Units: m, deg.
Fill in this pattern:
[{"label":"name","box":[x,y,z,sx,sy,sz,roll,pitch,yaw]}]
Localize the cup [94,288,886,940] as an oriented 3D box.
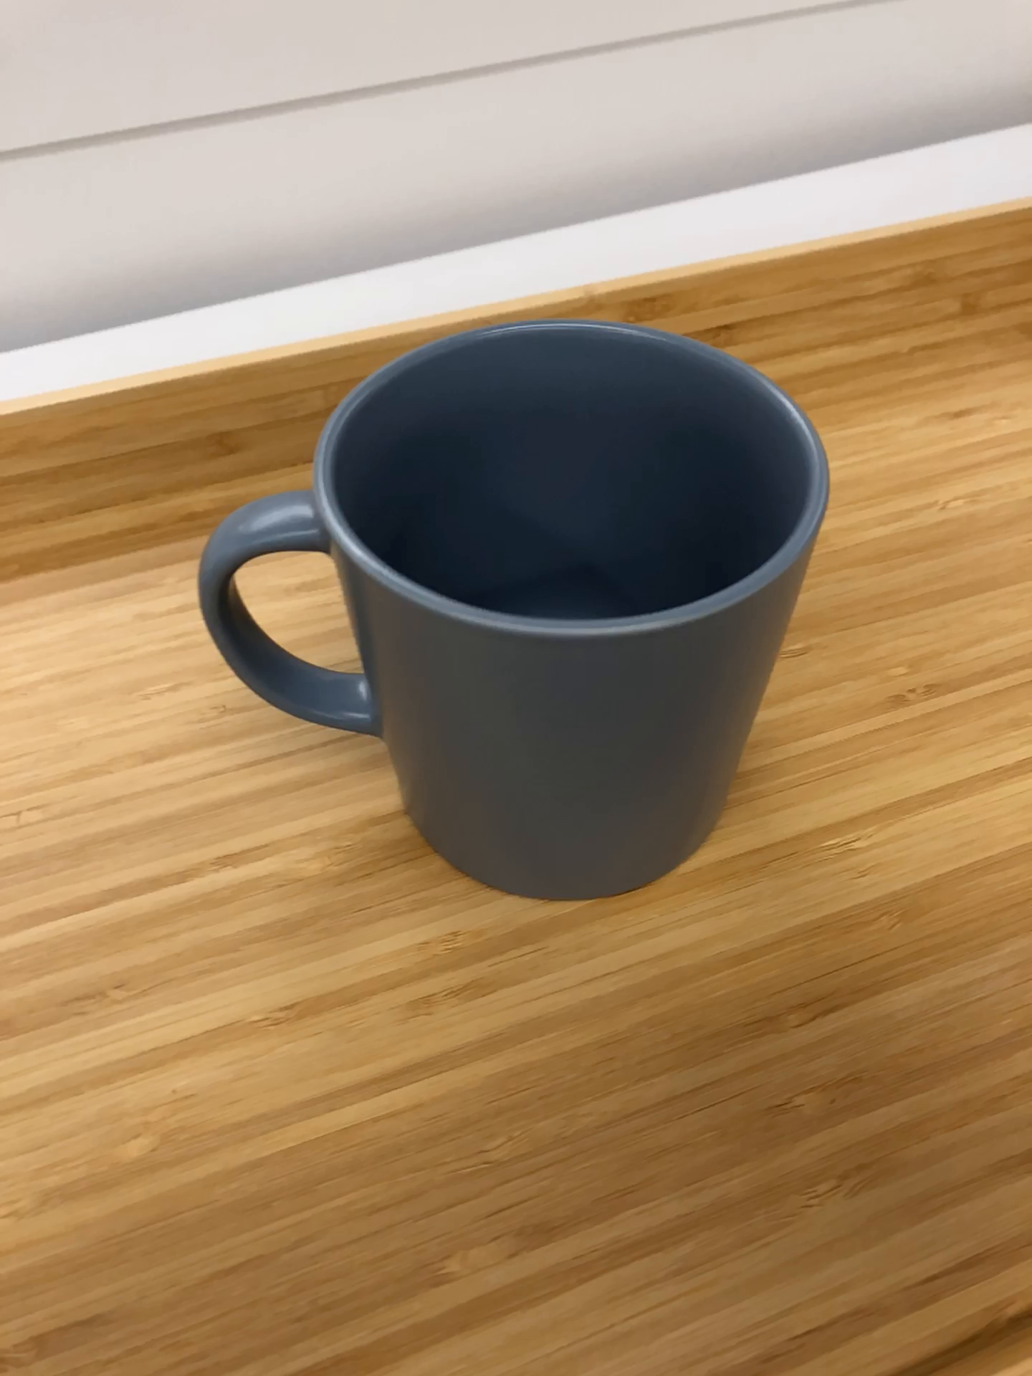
[{"label":"cup","box":[-0.002,-0.015,0.237,0.120,0.090,0.090,4,47,3]}]
